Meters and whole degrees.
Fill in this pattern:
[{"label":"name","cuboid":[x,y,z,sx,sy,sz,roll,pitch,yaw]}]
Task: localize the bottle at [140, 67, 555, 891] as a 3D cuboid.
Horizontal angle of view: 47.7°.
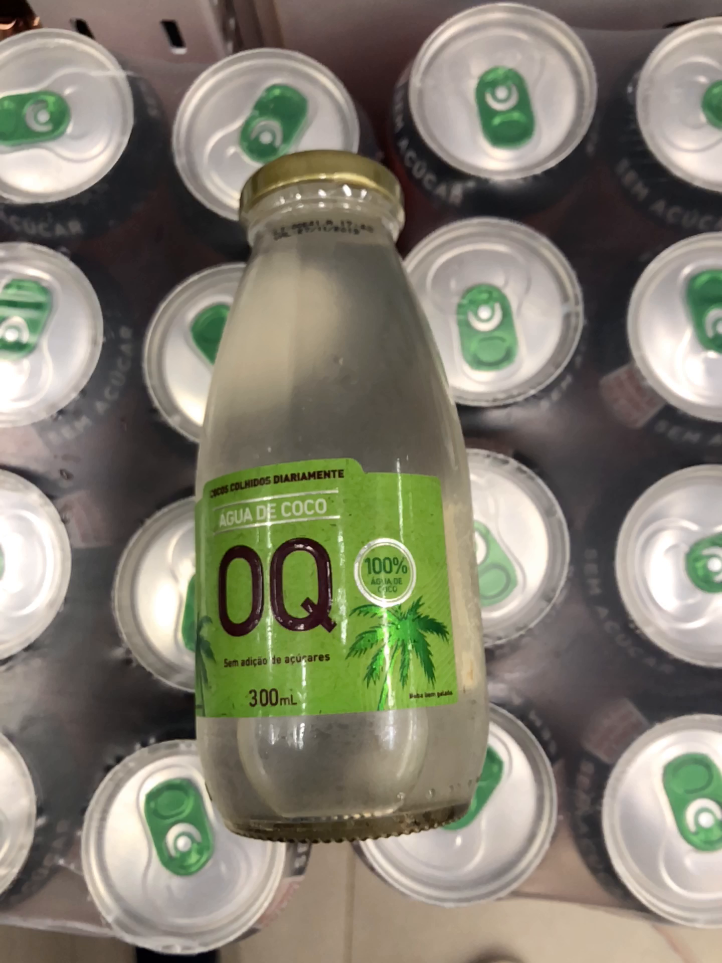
[{"label":"bottle","cuboid":[-0.001,0.000,0.186,0.070,0.060,0.150,-5,79,20]}]
